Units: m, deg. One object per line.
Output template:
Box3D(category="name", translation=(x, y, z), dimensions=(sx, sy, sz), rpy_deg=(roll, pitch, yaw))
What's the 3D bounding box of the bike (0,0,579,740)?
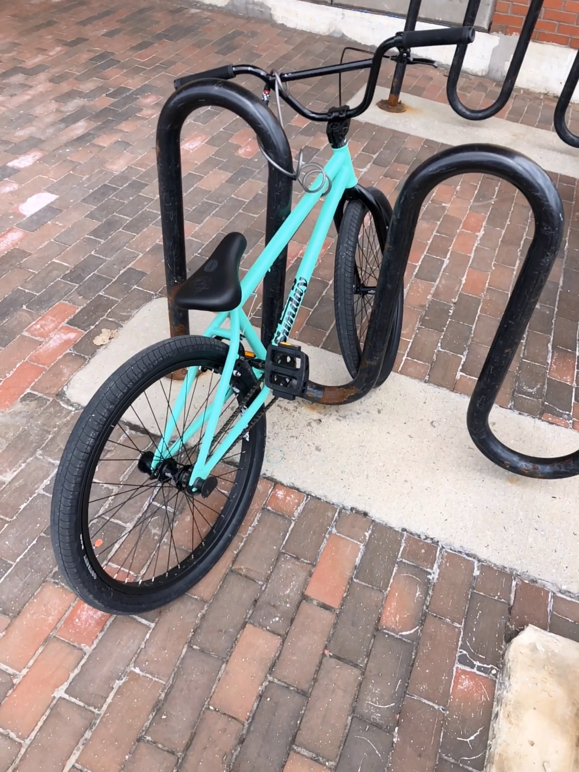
Box3D(category="bike", translation=(-0.031, -0.263, 1.482), dimensions=(0.810, 1.068, 1.470), rpy_deg=(23, 49, 18))
